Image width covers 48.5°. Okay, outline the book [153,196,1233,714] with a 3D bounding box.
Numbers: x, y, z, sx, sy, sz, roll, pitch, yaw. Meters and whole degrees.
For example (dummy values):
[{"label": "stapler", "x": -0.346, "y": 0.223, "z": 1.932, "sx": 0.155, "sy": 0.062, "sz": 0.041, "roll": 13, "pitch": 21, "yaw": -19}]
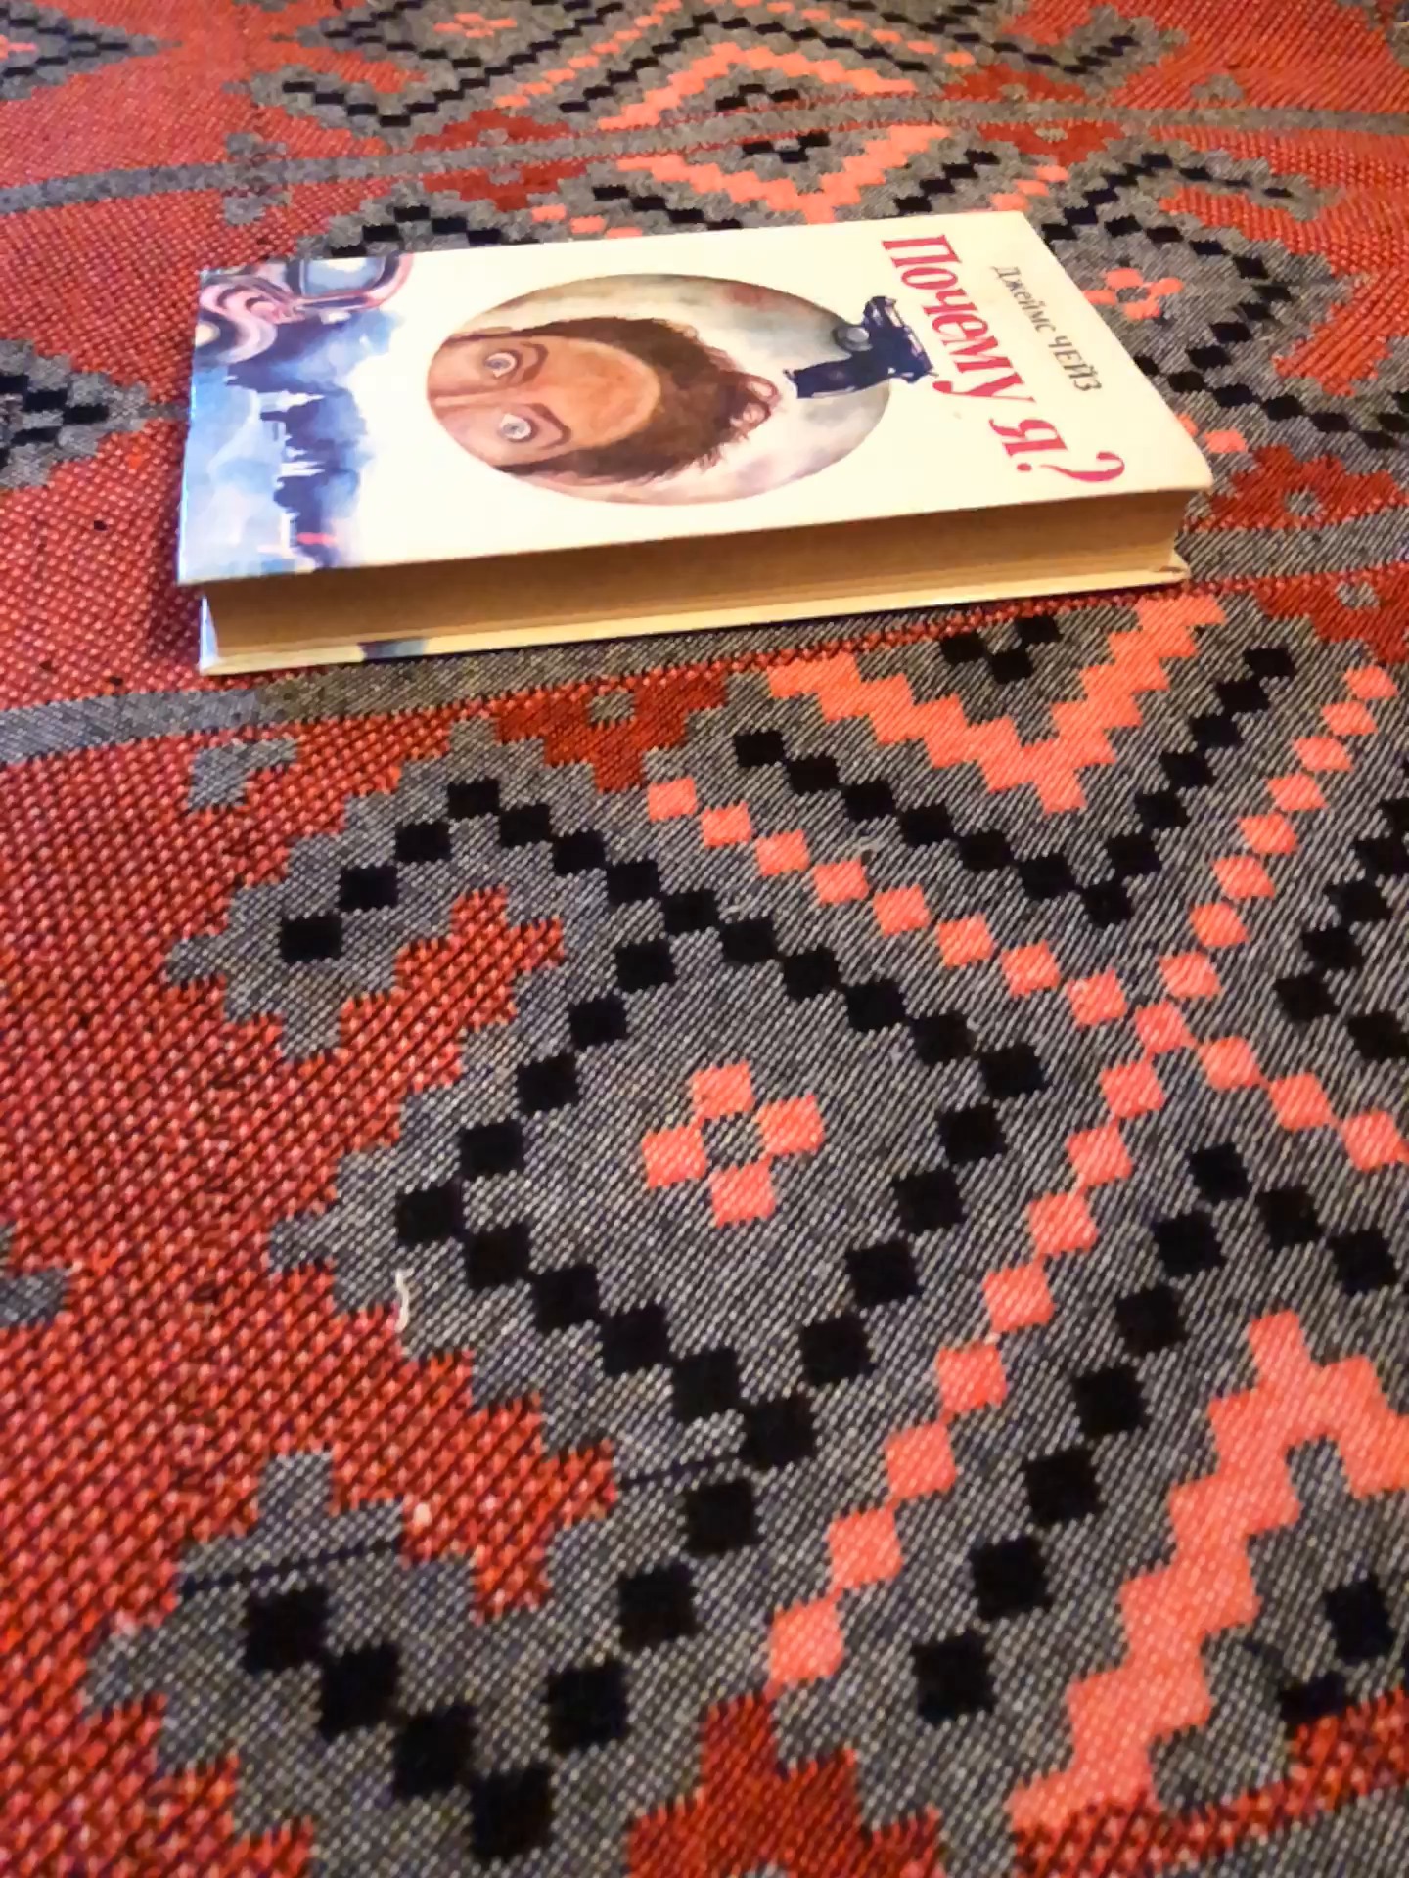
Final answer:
[{"label": "book", "x": -0.010, "y": -0.115, "z": 0.346, "sx": 0.204, "sy": 0.029, "sz": 0.134, "roll": -7, "pitch": 48, "yaw": -7}]
